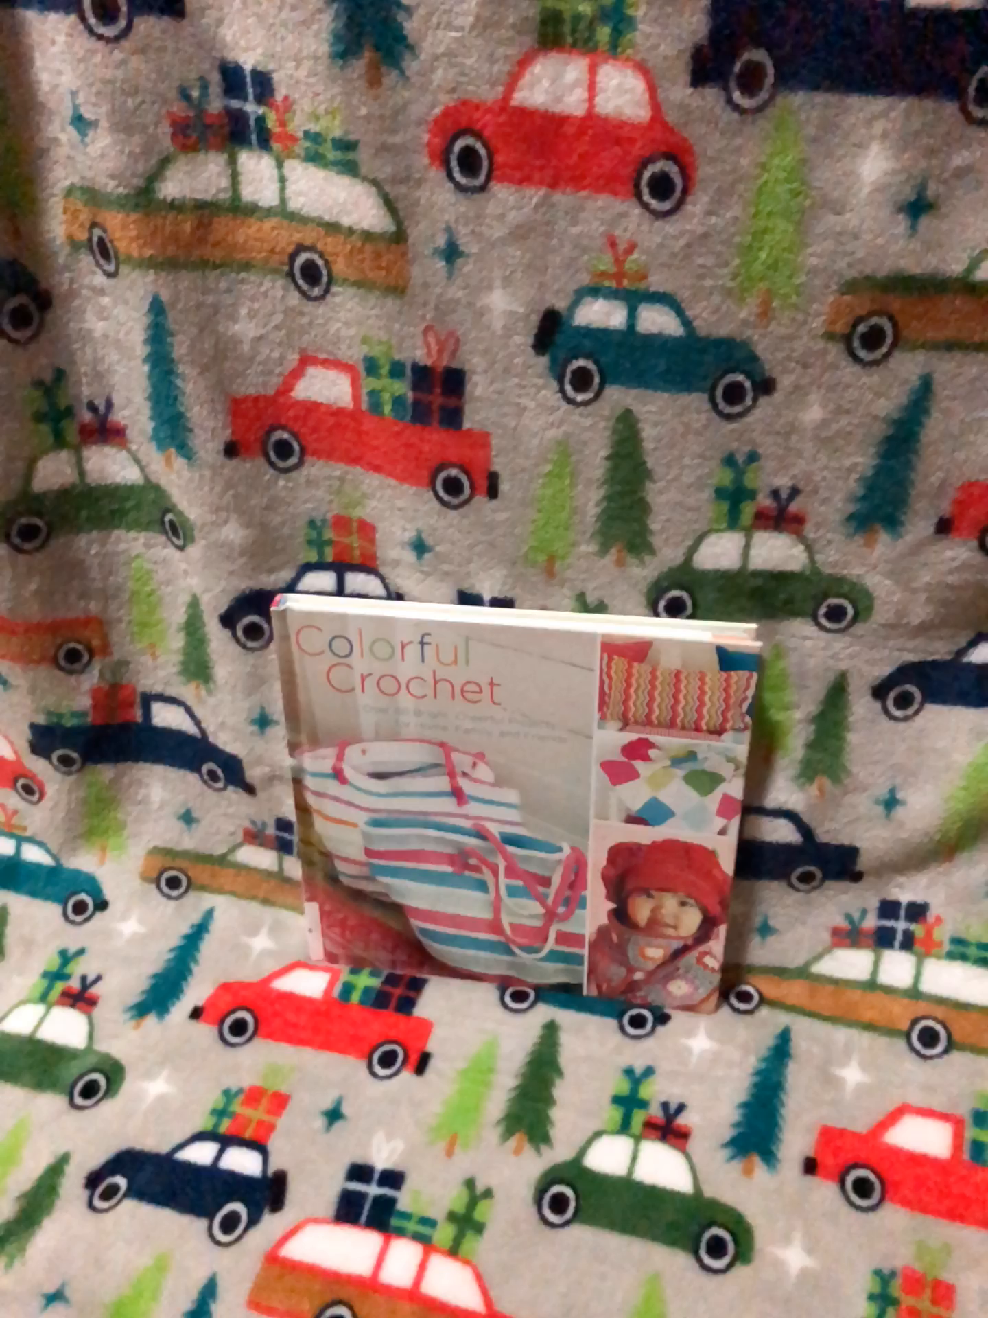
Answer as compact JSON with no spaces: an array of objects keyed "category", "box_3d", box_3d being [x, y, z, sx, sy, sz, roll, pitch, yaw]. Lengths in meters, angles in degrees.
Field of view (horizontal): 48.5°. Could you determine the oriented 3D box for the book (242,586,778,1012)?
[{"category":"book","box_3d":[0.006,0.070,0.481,0.202,0.214,0.020,5,38,8]}]
